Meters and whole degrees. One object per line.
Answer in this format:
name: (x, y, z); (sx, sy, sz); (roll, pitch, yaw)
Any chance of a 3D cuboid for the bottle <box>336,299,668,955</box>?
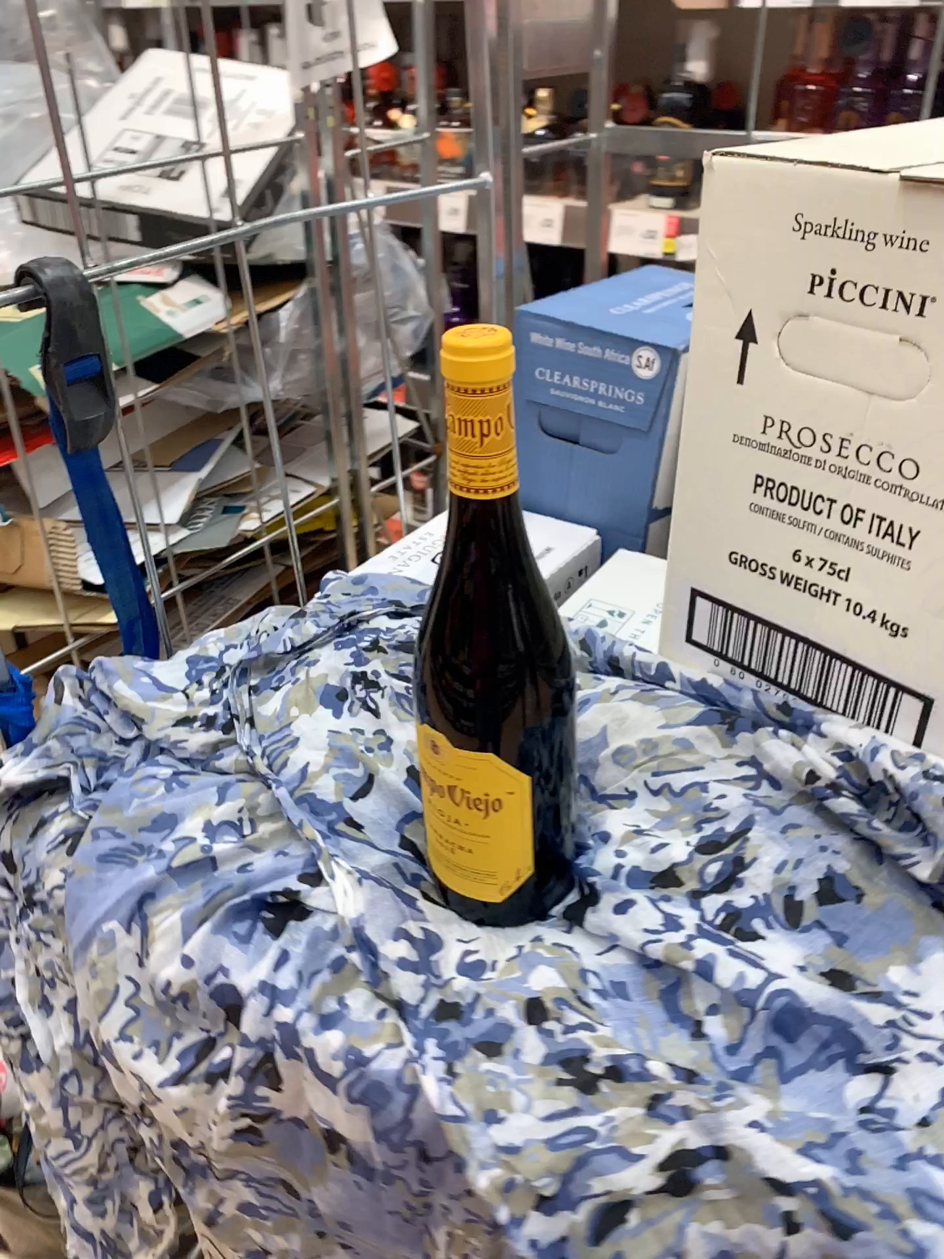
bottle: (0.013, 0.004, 0.441); (0.090, 0.270, 0.090); (0, 32, 0)
